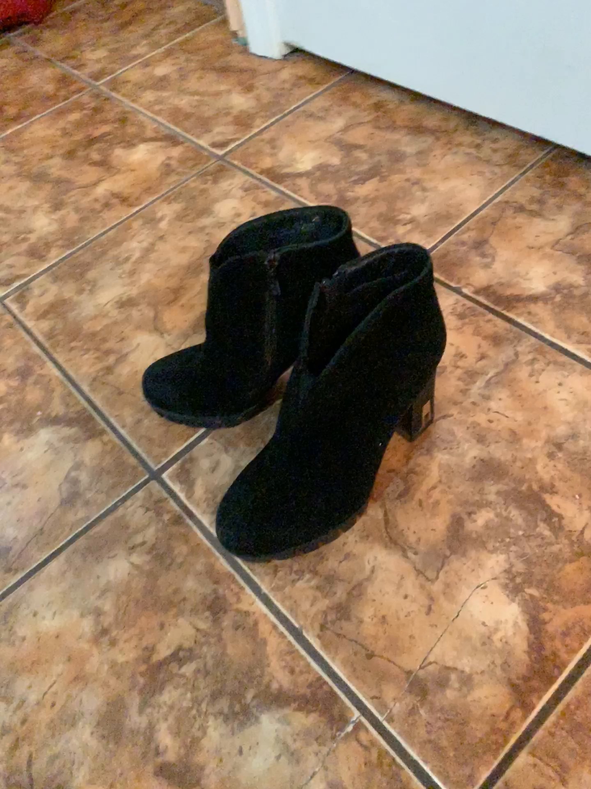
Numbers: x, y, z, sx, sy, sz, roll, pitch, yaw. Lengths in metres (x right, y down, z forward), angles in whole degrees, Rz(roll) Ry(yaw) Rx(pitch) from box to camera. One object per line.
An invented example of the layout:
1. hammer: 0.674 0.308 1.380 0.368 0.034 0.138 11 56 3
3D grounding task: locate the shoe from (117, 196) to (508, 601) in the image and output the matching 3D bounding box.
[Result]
1. shoe: 0.025 0.007 0.432 0.229 0.180 0.094 -37 56 -17

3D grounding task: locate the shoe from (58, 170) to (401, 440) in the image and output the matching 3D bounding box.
1. shoe: -0.035 -0.061 0.494 0.229 0.180 0.094 -6 53 6
